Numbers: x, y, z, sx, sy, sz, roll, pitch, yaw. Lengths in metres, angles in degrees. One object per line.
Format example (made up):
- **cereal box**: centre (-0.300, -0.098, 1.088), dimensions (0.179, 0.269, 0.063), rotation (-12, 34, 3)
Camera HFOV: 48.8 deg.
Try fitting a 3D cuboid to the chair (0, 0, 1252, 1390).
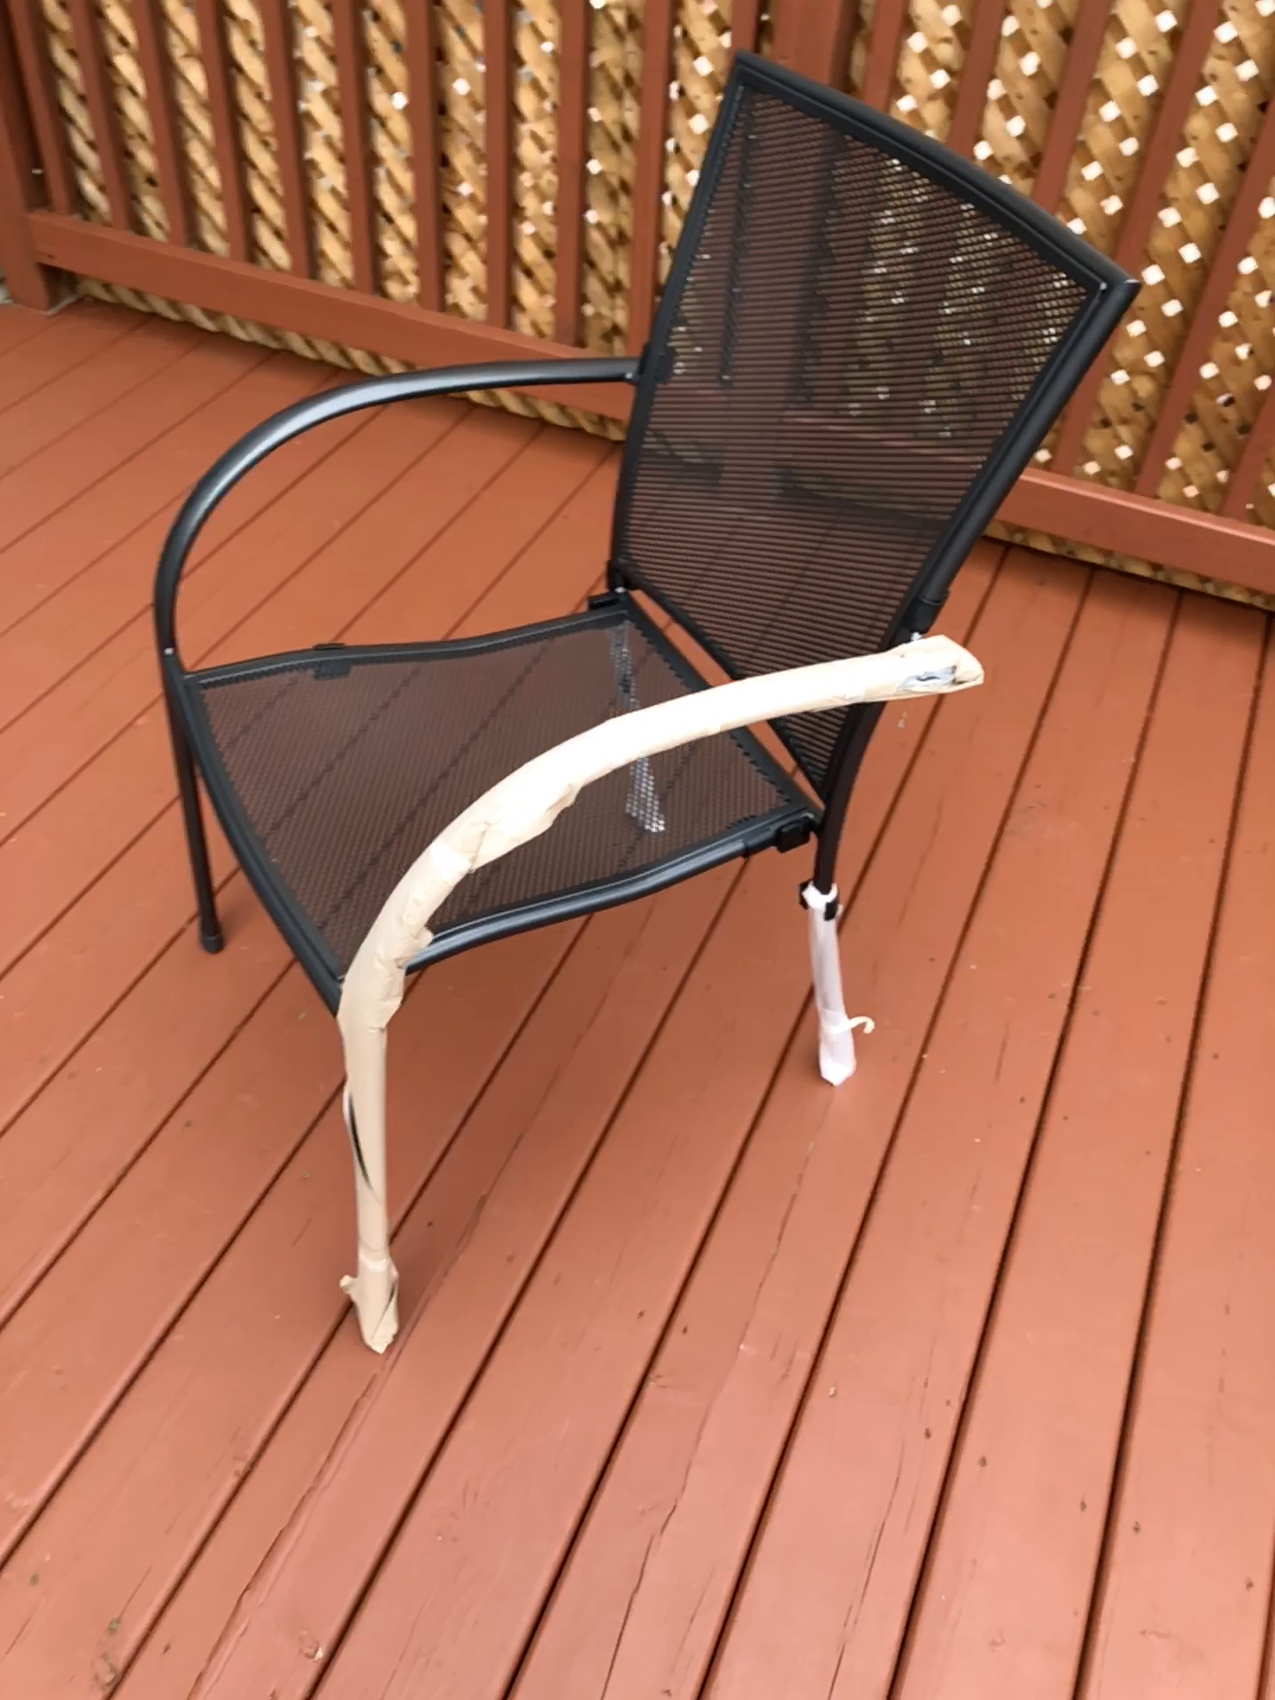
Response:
- **chair**: centre (-0.086, -0.135, 1.230), dimensions (0.651, 0.926, 0.602), rotation (-19, 50, -21)
